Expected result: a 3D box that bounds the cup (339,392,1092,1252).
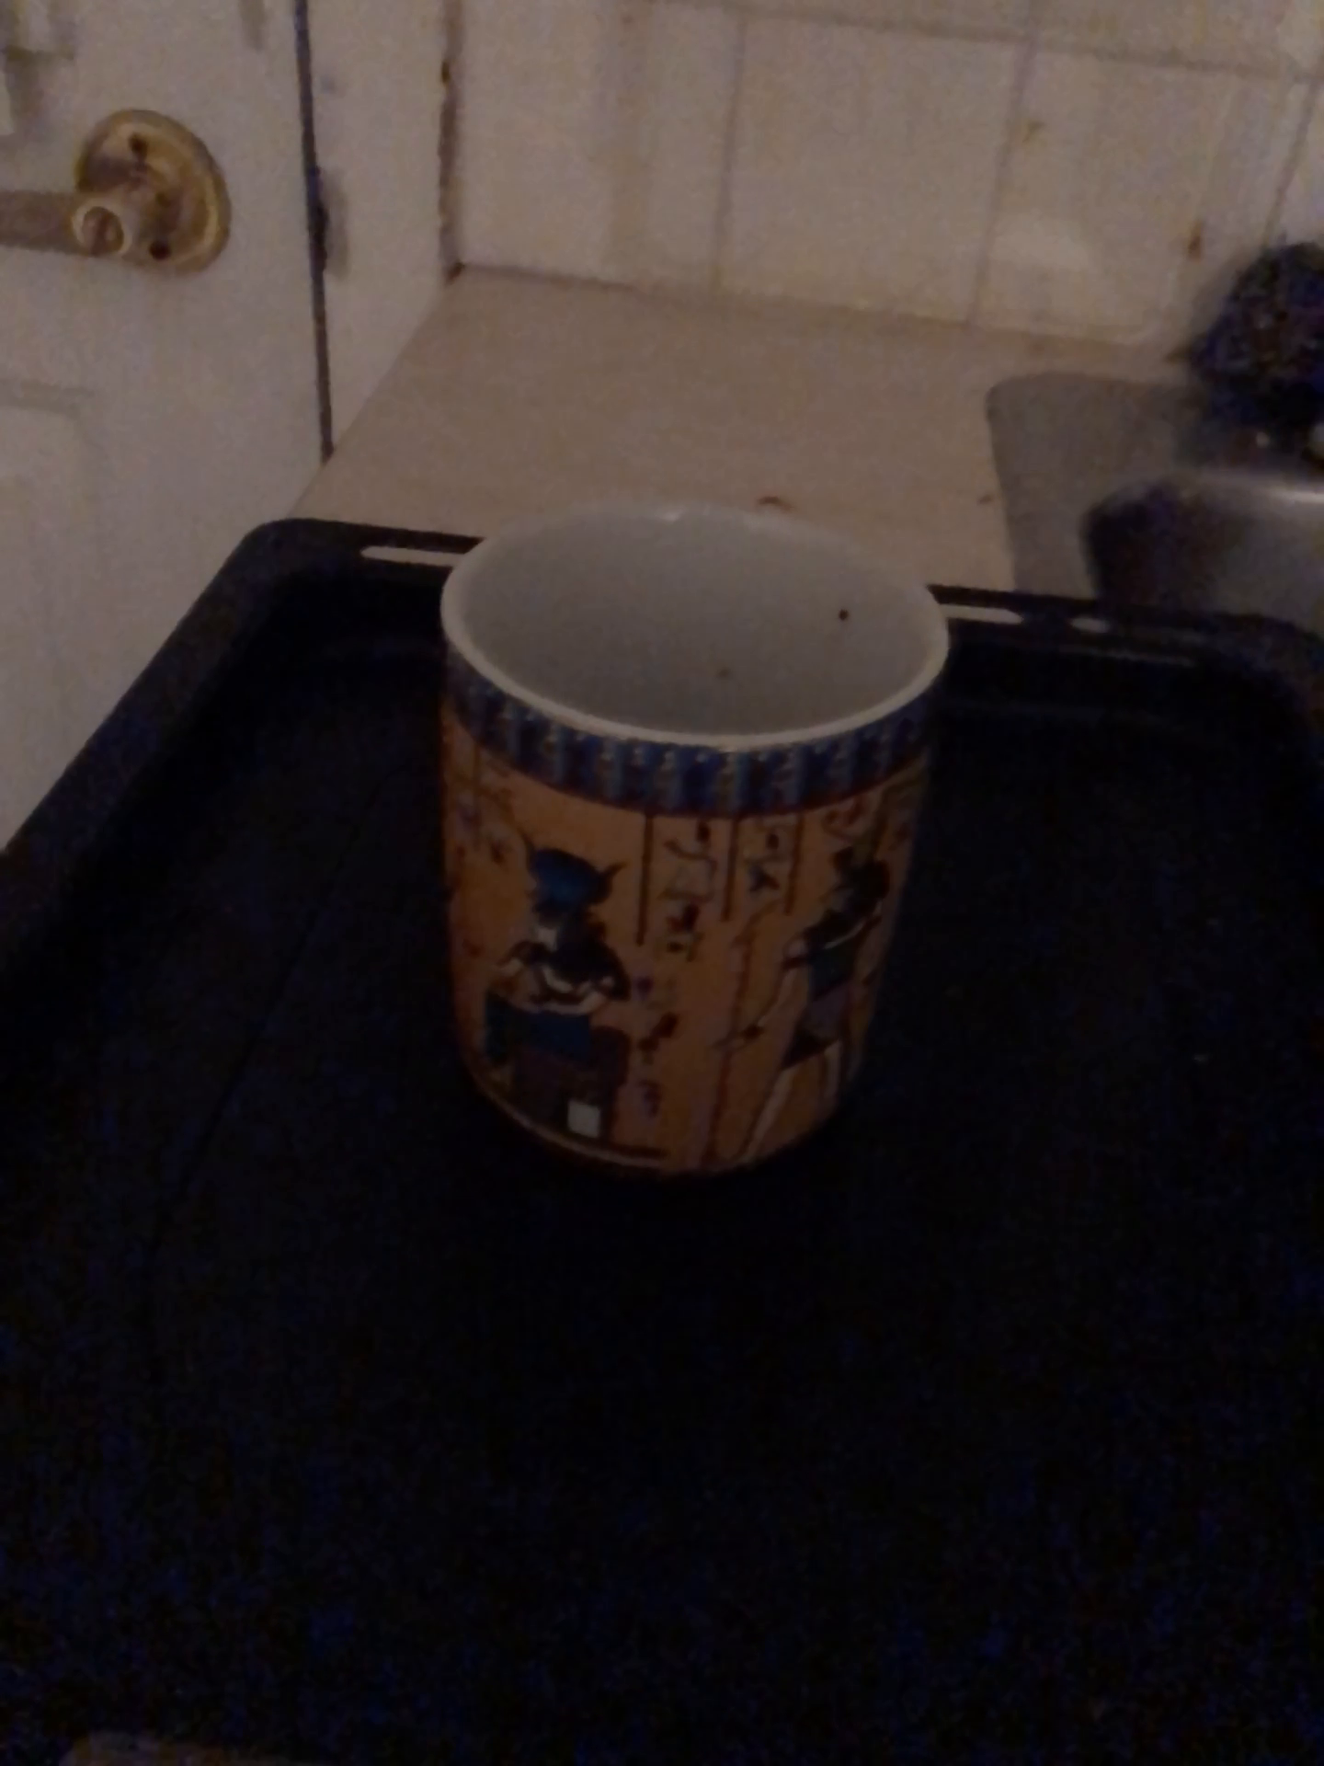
[{"bbox_3d":[0.013,-0.020,0.271,0.080,0.089,0.121,22,41,19],"label":"cup"}]
